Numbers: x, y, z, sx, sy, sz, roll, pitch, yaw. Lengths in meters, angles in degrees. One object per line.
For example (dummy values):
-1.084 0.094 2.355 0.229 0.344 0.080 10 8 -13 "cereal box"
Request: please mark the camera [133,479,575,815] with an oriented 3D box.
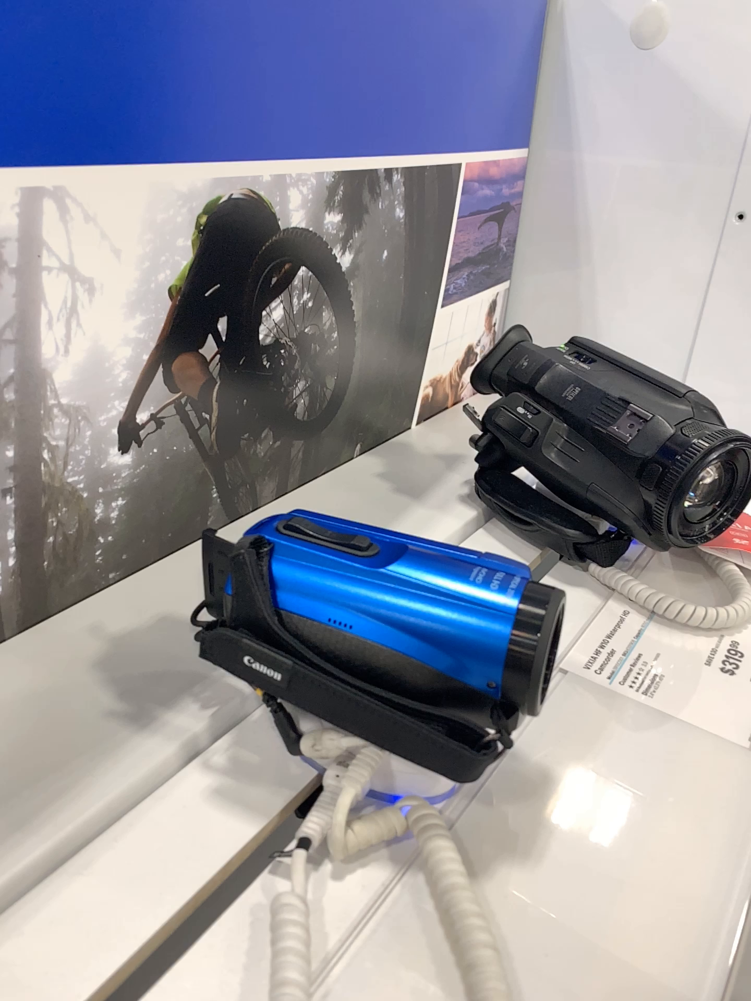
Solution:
-0.008 0.046 0.292 0.143 0.057 0.073 14 27 19 "camera"
